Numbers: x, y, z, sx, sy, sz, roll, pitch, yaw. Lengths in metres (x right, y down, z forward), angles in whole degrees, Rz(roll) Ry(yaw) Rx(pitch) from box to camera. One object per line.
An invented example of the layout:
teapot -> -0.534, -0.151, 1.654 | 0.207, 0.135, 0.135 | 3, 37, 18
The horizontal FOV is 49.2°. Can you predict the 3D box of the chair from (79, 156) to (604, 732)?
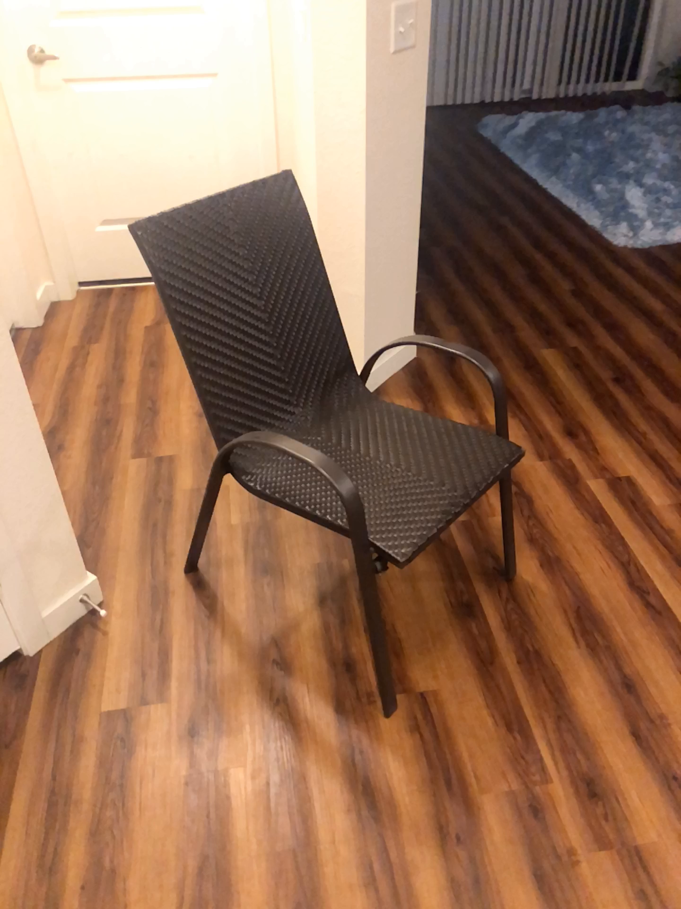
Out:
chair -> 0.004, -0.071, 1.608 | 0.749, 0.853, 0.599 | 26, 44, 32
